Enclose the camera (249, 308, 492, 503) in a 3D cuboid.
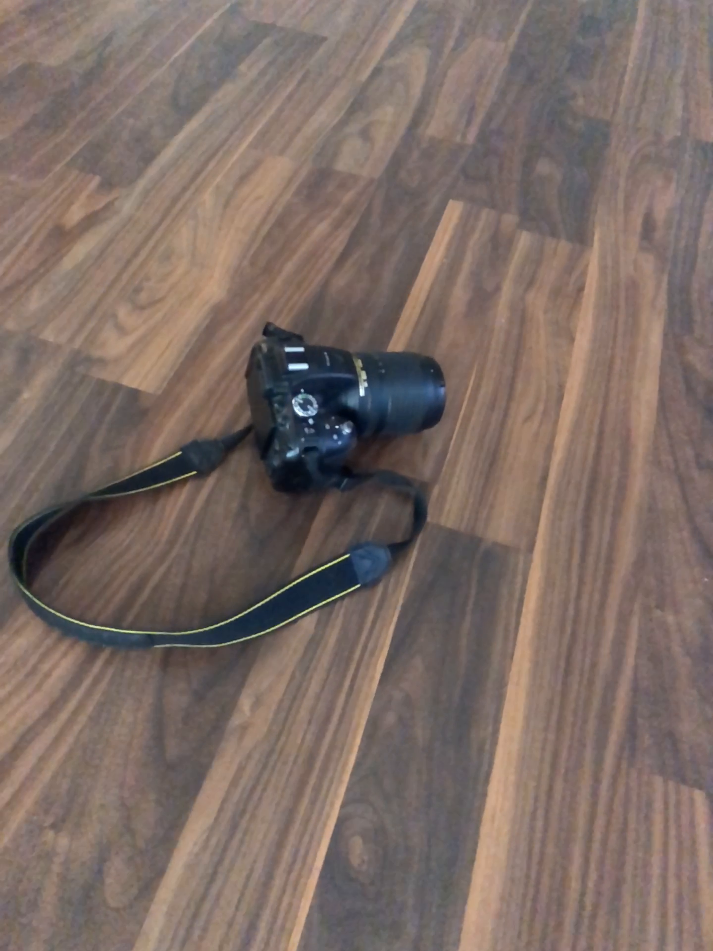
[{"bbox_3d":[0.005,-0.060,0.627,0.160,0.070,0.120,-10,52,-14],"label":"camera"}]
